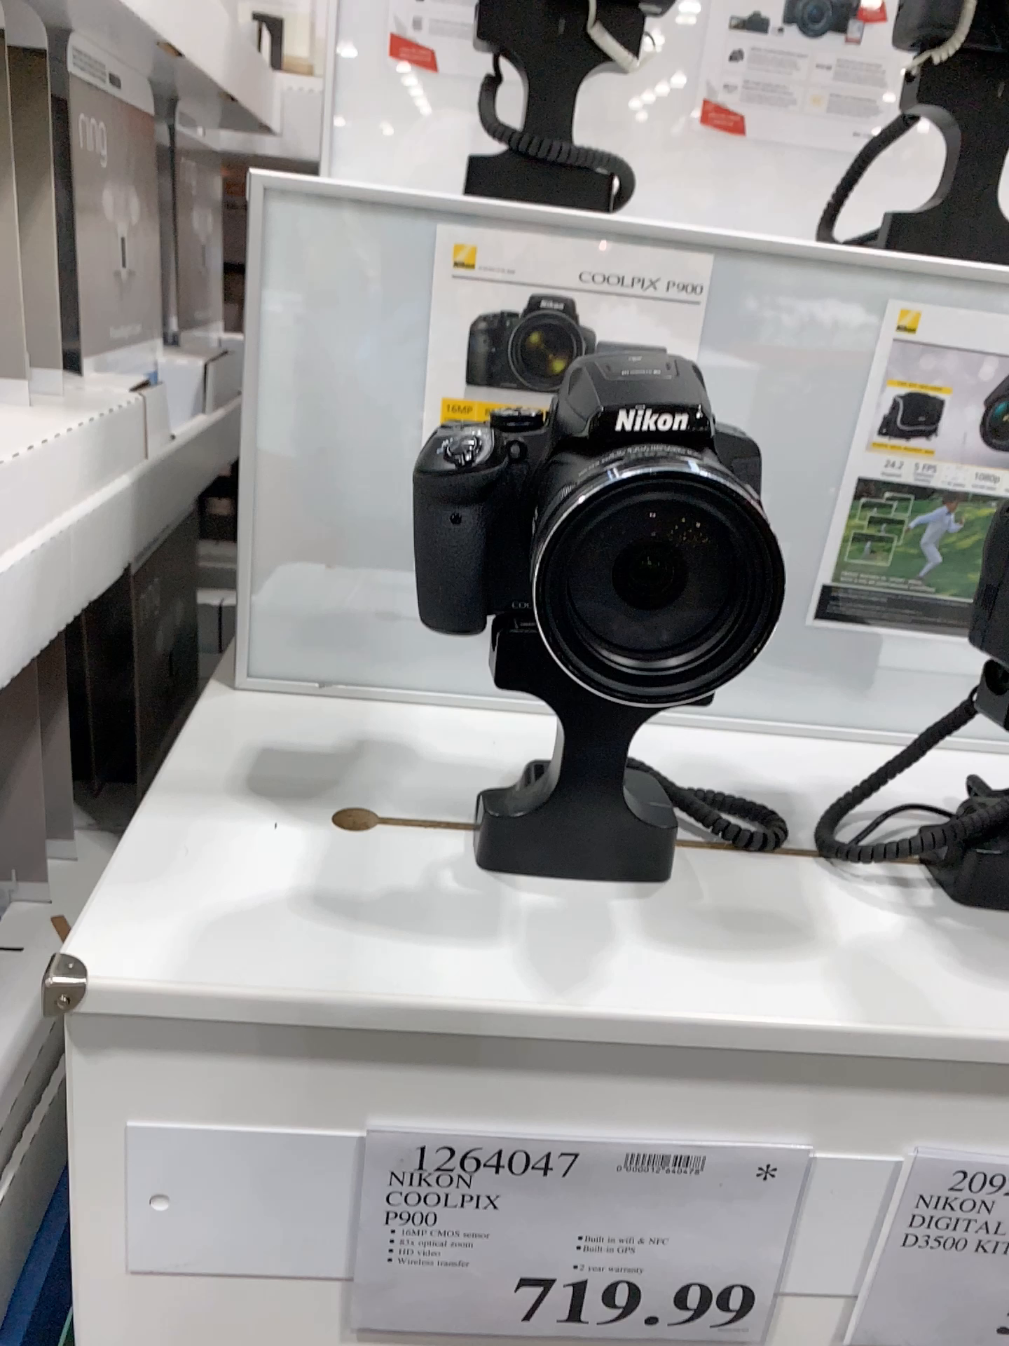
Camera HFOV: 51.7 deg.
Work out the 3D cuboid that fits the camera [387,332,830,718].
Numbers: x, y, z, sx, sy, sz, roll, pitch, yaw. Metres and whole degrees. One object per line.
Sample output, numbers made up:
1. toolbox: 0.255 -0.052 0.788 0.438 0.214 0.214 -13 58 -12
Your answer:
1. camera: 0.029 -0.066 0.395 0.130 0.109 0.151 2 21 0
